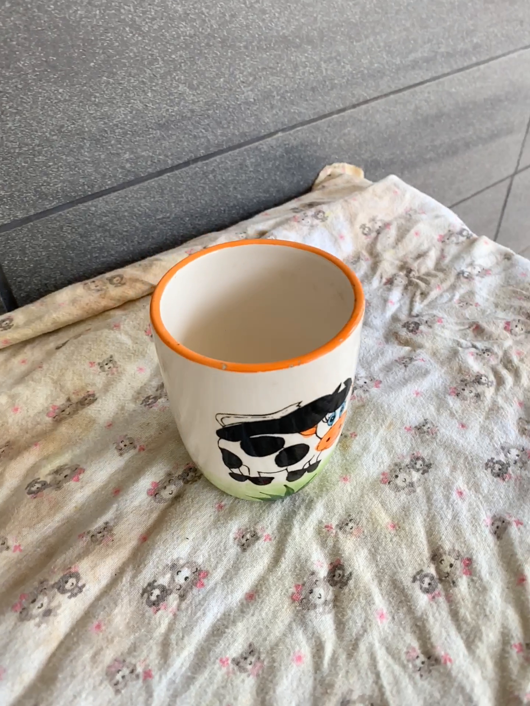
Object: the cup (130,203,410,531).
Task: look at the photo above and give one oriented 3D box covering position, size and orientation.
[{"bbox_3d":[-0.003,0.004,0.225,0.080,0.090,0.080,-1,43,1],"label":"cup"}]
